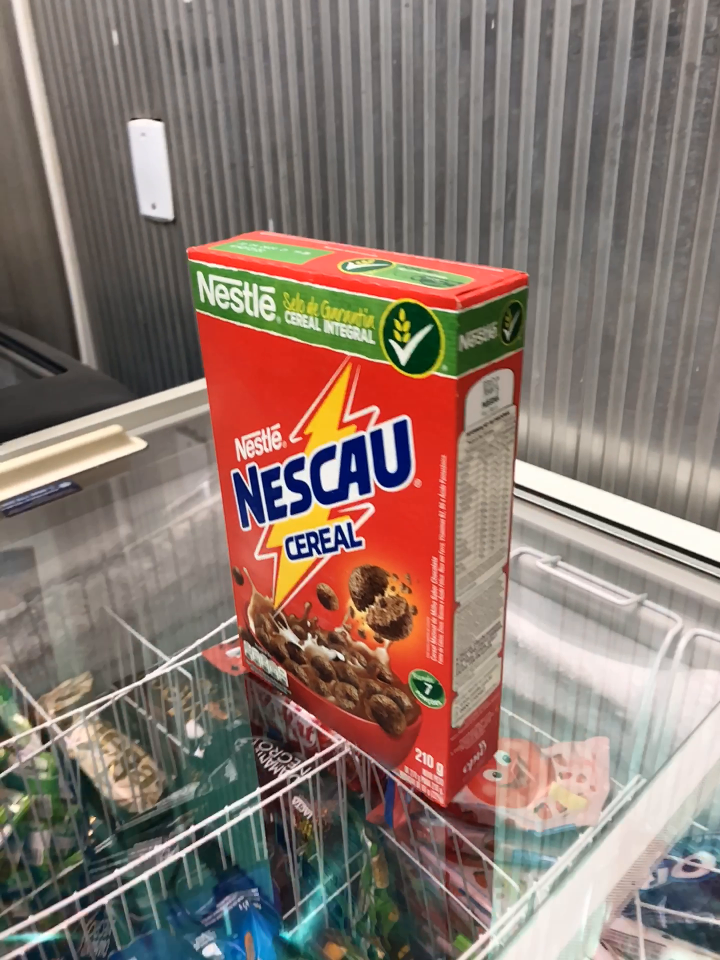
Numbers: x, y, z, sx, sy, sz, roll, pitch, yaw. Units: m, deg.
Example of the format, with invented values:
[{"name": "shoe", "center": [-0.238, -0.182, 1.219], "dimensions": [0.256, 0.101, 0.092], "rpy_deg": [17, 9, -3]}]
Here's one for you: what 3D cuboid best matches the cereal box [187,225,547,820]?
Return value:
[{"name": "cereal box", "center": [-0.001, 0.017, 0.403], "dimensions": [0.050, 0.258, 0.171], "rpy_deg": [-25, 35, -38]}]
